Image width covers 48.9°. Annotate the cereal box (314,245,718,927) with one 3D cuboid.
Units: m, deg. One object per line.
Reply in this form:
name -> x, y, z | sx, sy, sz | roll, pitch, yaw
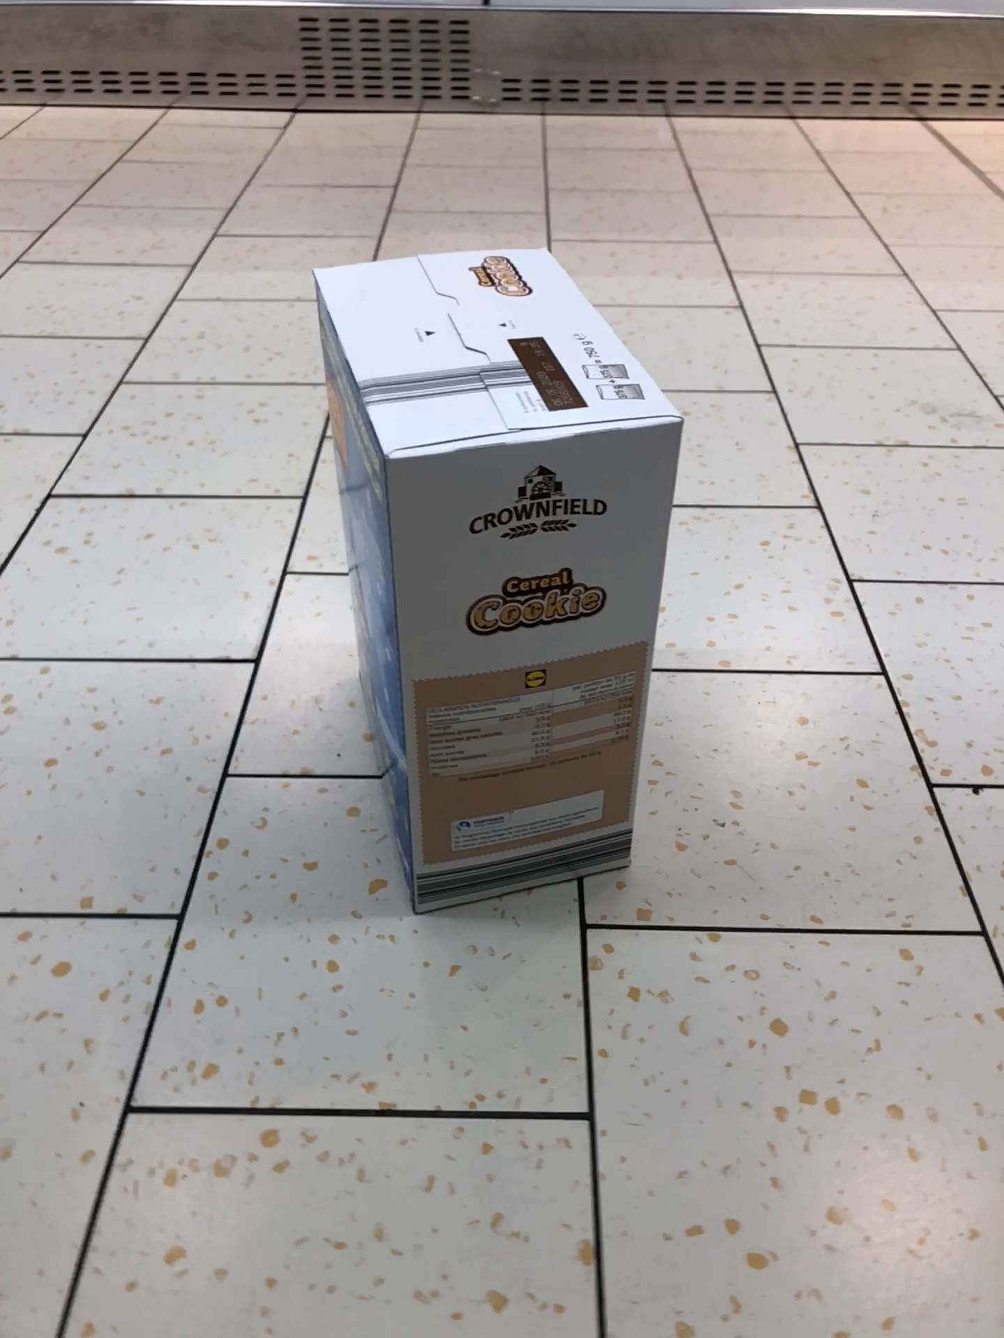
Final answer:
cereal box -> -0.007, -0.044, 0.539 | 0.120, 0.248, 0.201 | -9, 40, -12
